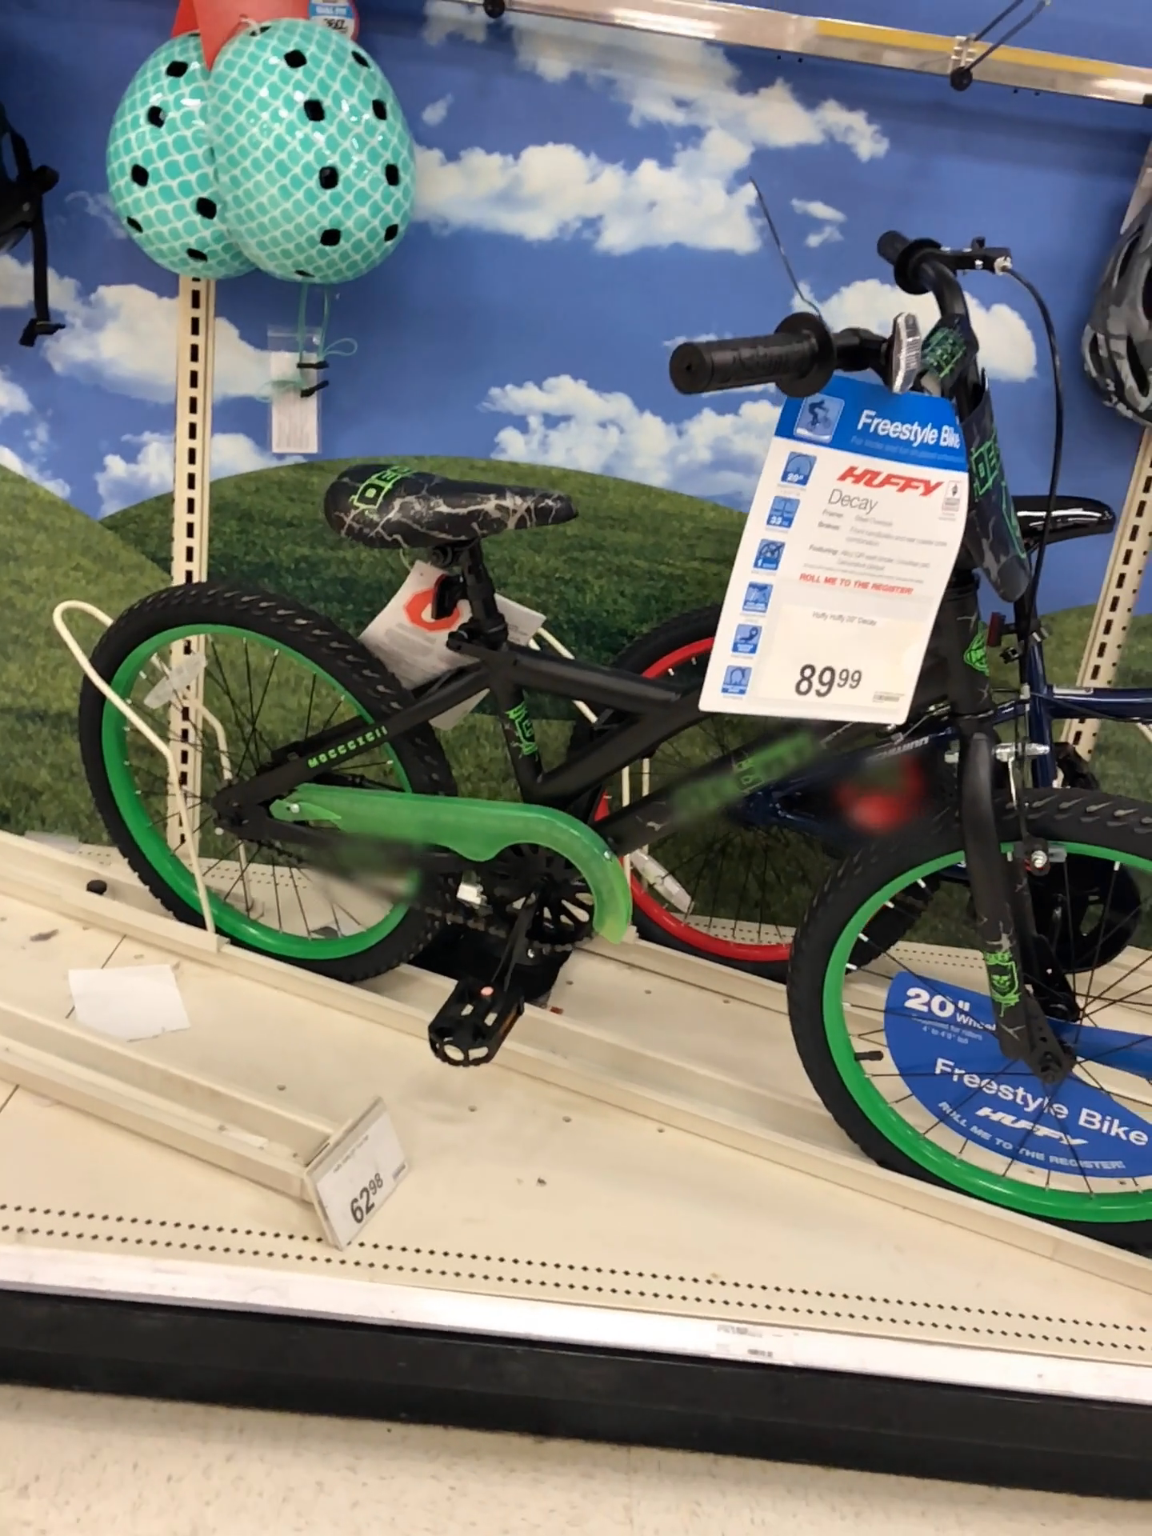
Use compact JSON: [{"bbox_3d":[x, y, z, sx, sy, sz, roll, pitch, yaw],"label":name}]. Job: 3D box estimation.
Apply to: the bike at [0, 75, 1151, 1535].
[{"bbox_3d":[0.106,-0.074,1.222,1.361,0.879,0.630,14,21,17],"label":"bike"}]
